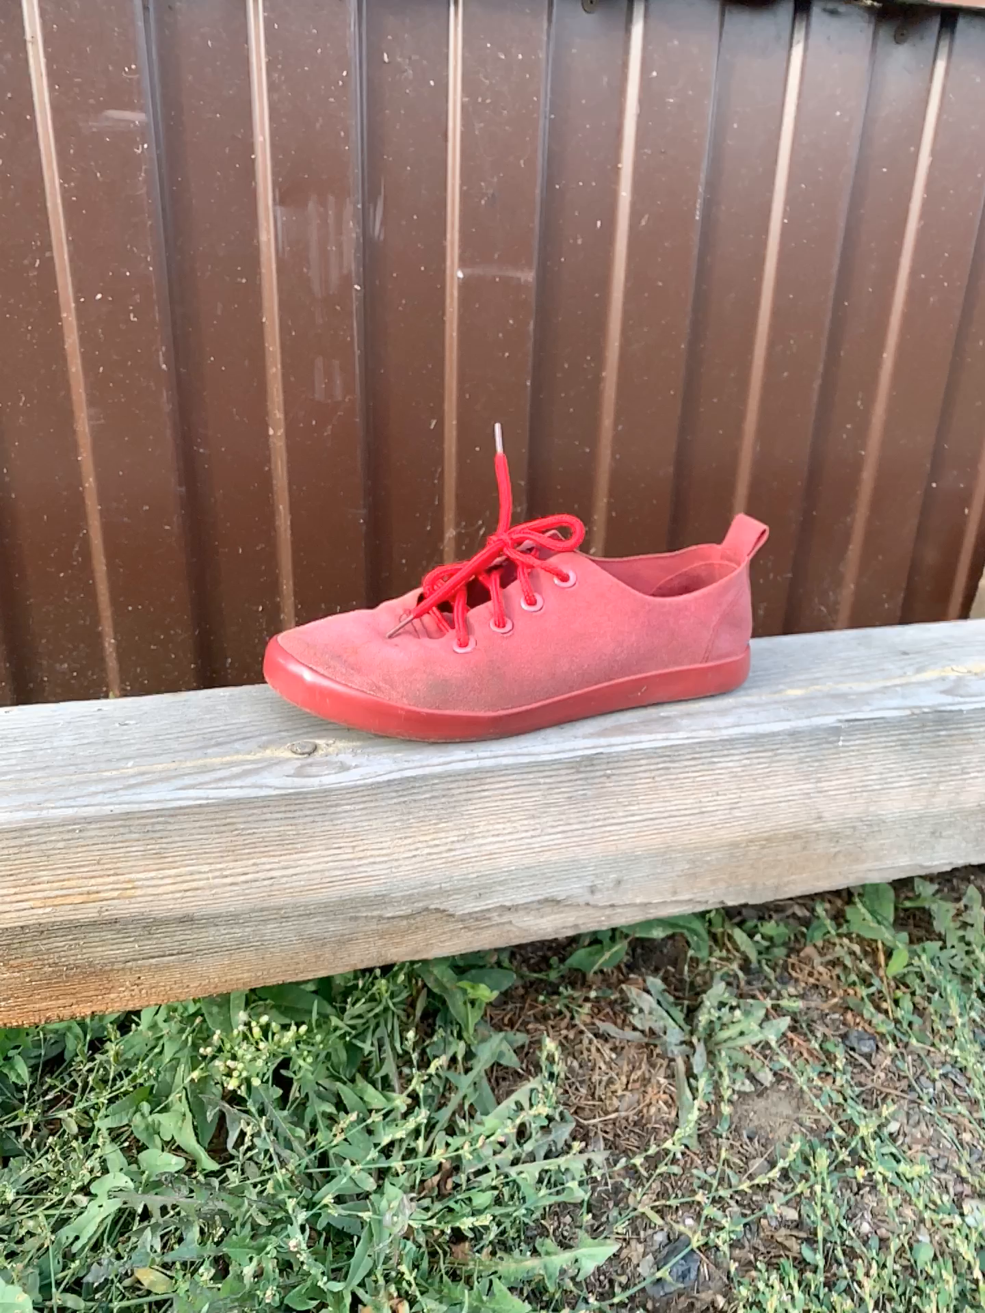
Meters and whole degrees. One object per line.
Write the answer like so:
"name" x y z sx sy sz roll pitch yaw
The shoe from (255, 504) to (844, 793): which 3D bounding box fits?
"shoe" 0.025 -0.014 0.461 0.240 0.069 0.101 -8 24 -22
